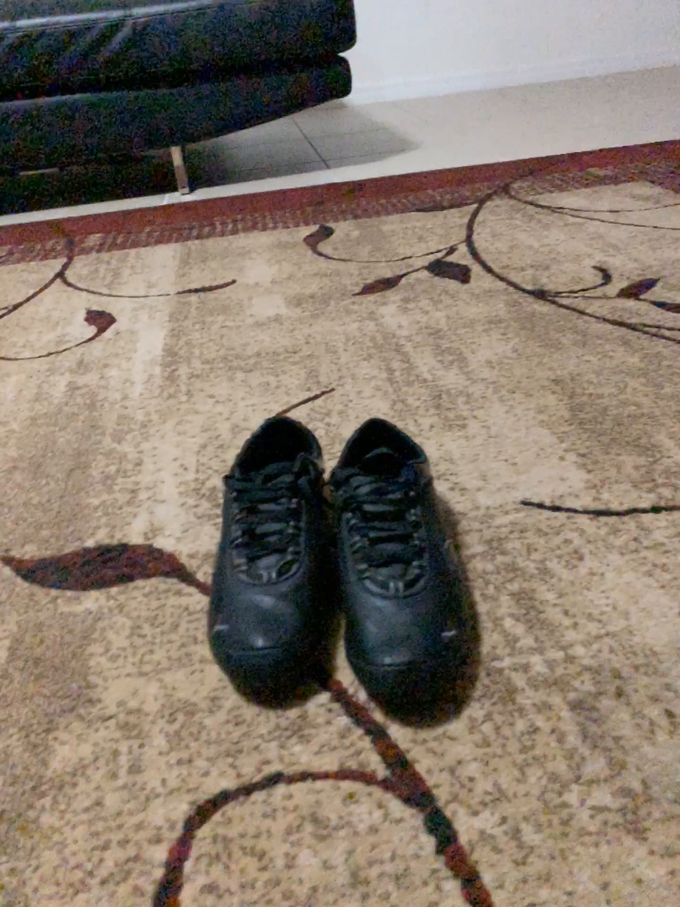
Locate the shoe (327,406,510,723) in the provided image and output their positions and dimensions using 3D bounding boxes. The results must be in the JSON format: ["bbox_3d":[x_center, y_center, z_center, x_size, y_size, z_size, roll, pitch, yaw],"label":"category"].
[{"bbox_3d":[0.044,0.061,0.503,0.088,0.073,0.246,-6,33,-1],"label":"shoe"}]

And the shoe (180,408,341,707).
[{"bbox_3d":[-0.046,0.060,0.521,0.085,0.073,0.246,-4,33,3],"label":"shoe"}]
